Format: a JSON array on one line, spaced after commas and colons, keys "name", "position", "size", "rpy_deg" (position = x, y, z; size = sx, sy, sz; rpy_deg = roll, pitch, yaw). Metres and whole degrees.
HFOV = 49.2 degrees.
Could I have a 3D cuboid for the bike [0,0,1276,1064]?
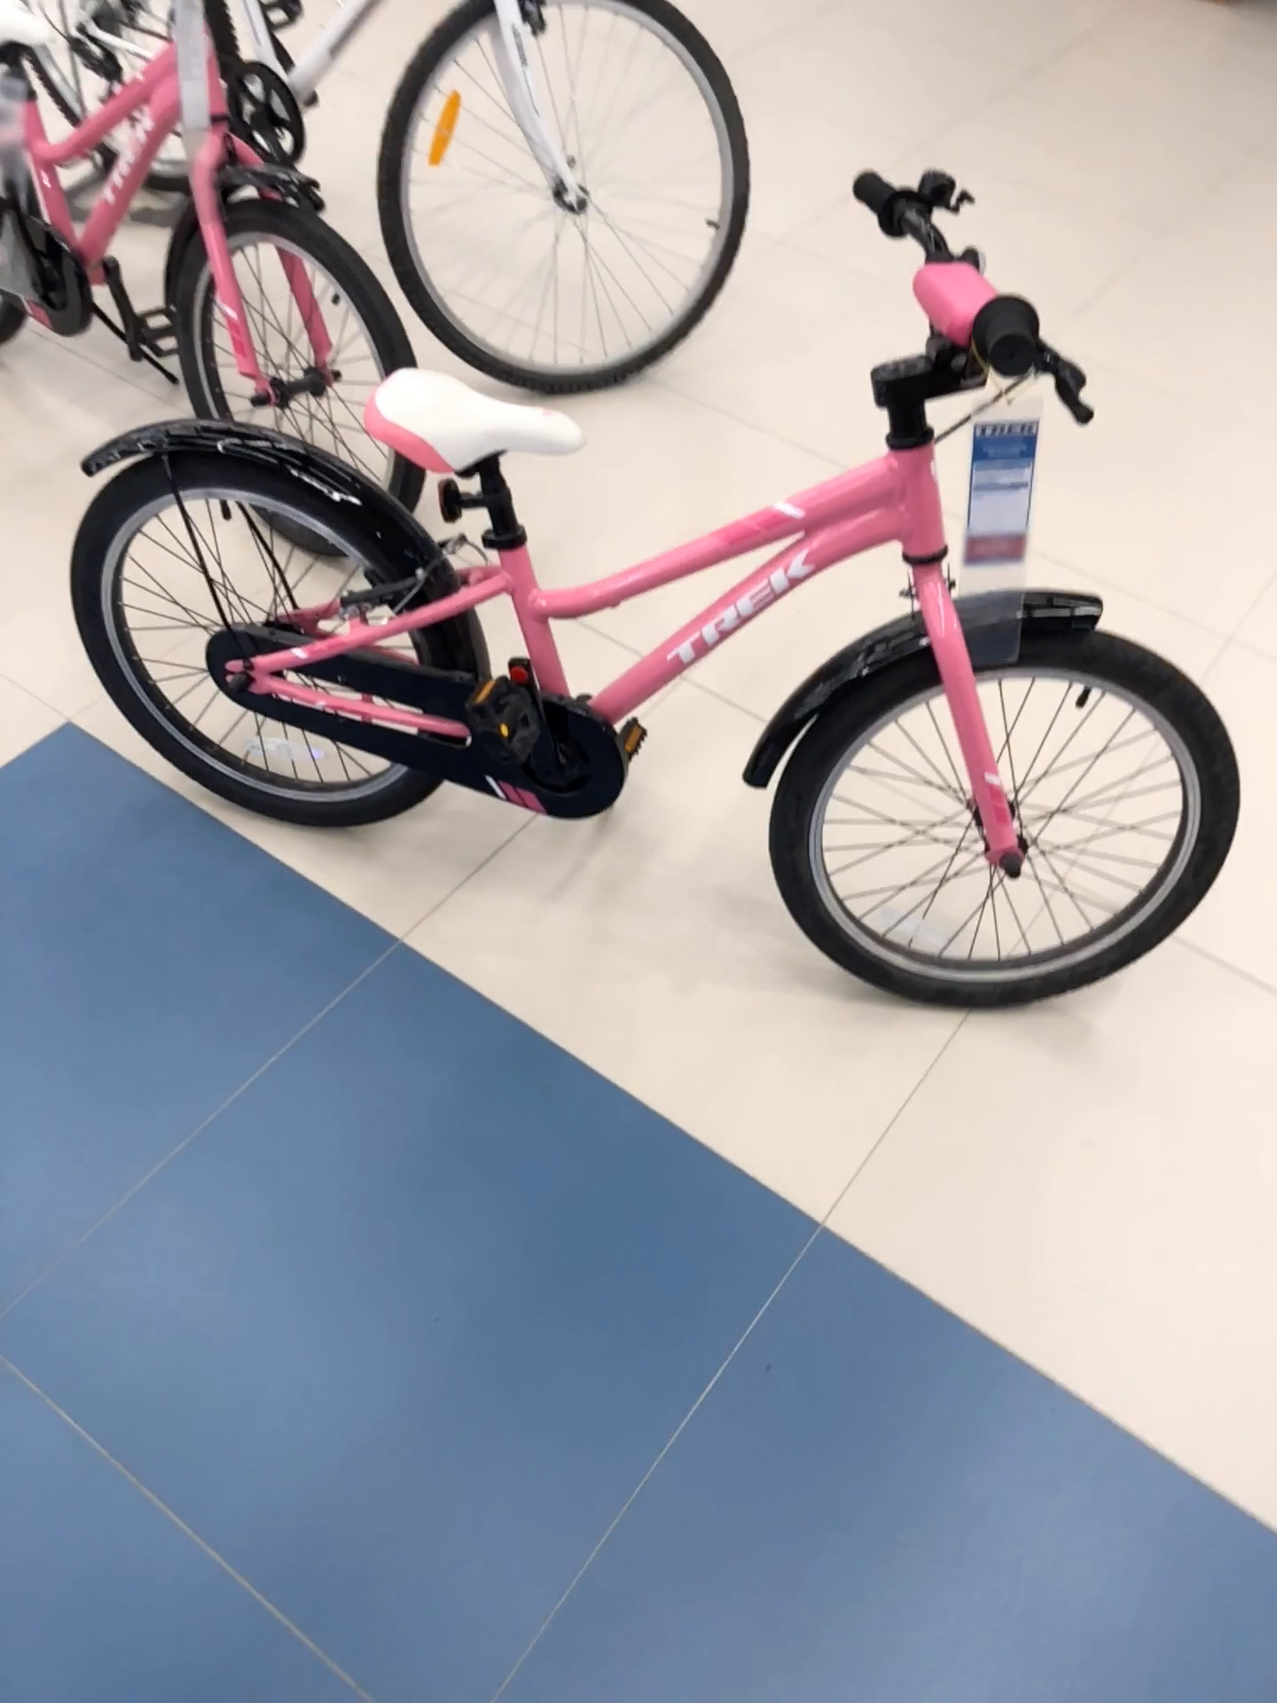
[{"name": "bike", "position": [0.020, -0.350, 1.409], "size": [1.296, 0.835, 0.558], "rpy_deg": [9, 48, 10]}]
